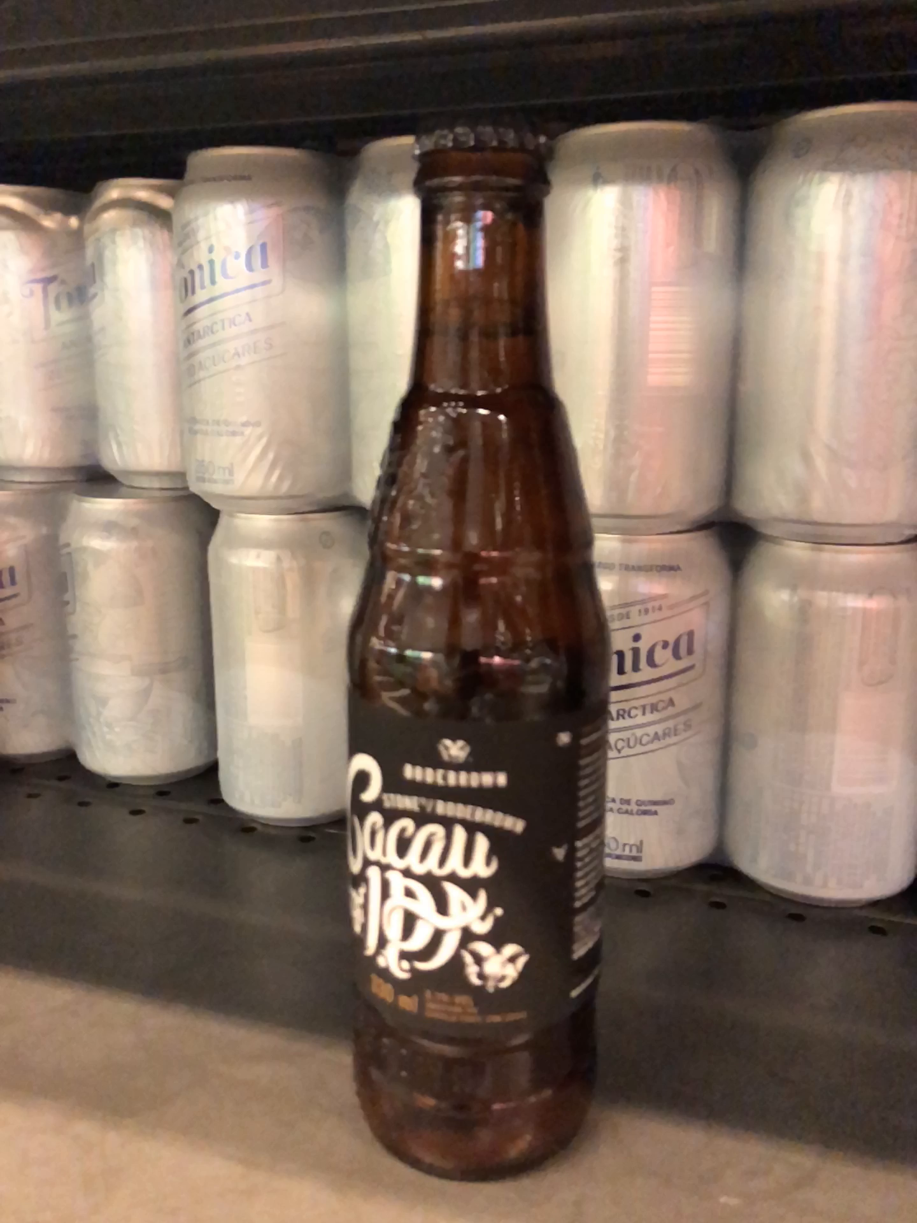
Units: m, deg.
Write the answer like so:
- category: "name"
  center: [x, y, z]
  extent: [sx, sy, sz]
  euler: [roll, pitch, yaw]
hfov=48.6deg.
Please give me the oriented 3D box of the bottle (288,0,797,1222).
- category: "bottle"
  center: [0.020, 0.012, 0.234]
  extent: [0.080, 0.249, 0.070]
  euler: [8, 17, 27]
